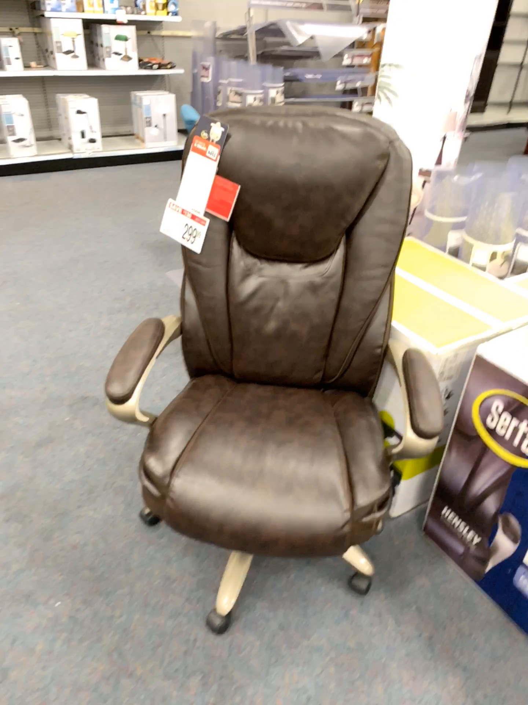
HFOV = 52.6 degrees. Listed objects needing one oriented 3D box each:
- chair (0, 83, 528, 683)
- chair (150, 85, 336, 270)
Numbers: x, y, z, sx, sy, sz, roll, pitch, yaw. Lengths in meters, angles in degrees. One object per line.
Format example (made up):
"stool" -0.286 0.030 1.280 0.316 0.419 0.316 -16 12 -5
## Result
"chair" 0.017 0.024 1.340 0.781 1.104 0.849 8 34 8
"chair" -0.168 -1.115 3.297 0.825 0.855 0.795 -12 36 -22
